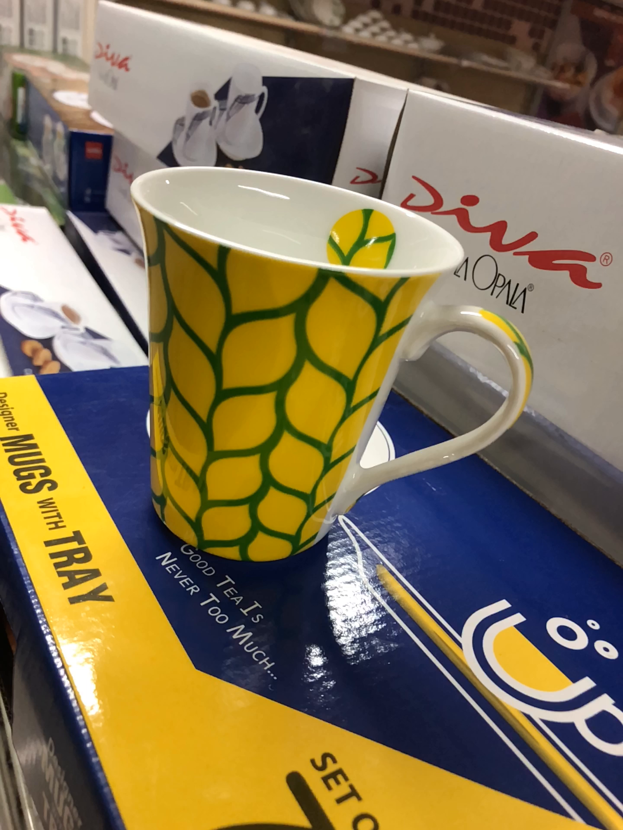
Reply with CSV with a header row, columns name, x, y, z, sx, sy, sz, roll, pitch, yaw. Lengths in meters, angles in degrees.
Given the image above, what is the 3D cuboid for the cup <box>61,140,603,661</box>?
name,x,y,z,sx,sy,sz,roll,pitch,yaw
cup,0.005,-0.013,0.192,0.110,0.089,0.080,18,29,10
